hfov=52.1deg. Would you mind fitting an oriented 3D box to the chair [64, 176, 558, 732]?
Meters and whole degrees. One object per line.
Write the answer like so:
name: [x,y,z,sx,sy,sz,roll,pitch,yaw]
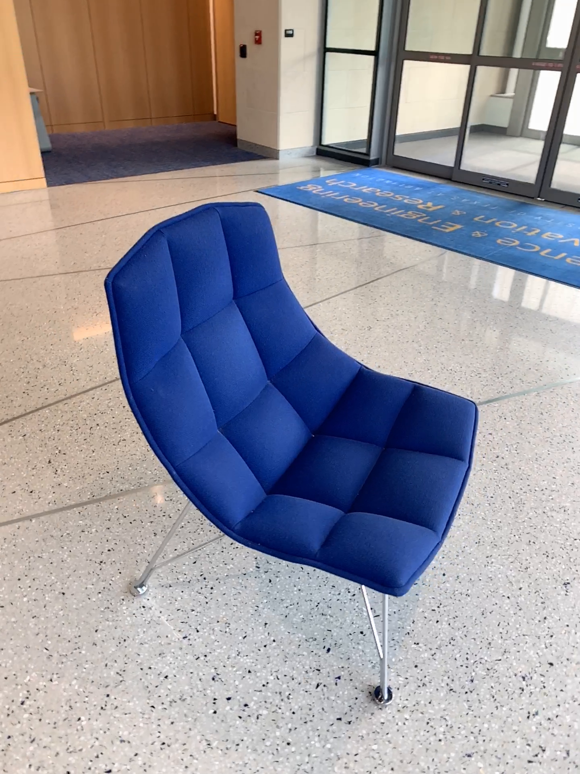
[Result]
chair: [0.100,0.074,1.547,0.829,0.963,0.804,15,34,21]
